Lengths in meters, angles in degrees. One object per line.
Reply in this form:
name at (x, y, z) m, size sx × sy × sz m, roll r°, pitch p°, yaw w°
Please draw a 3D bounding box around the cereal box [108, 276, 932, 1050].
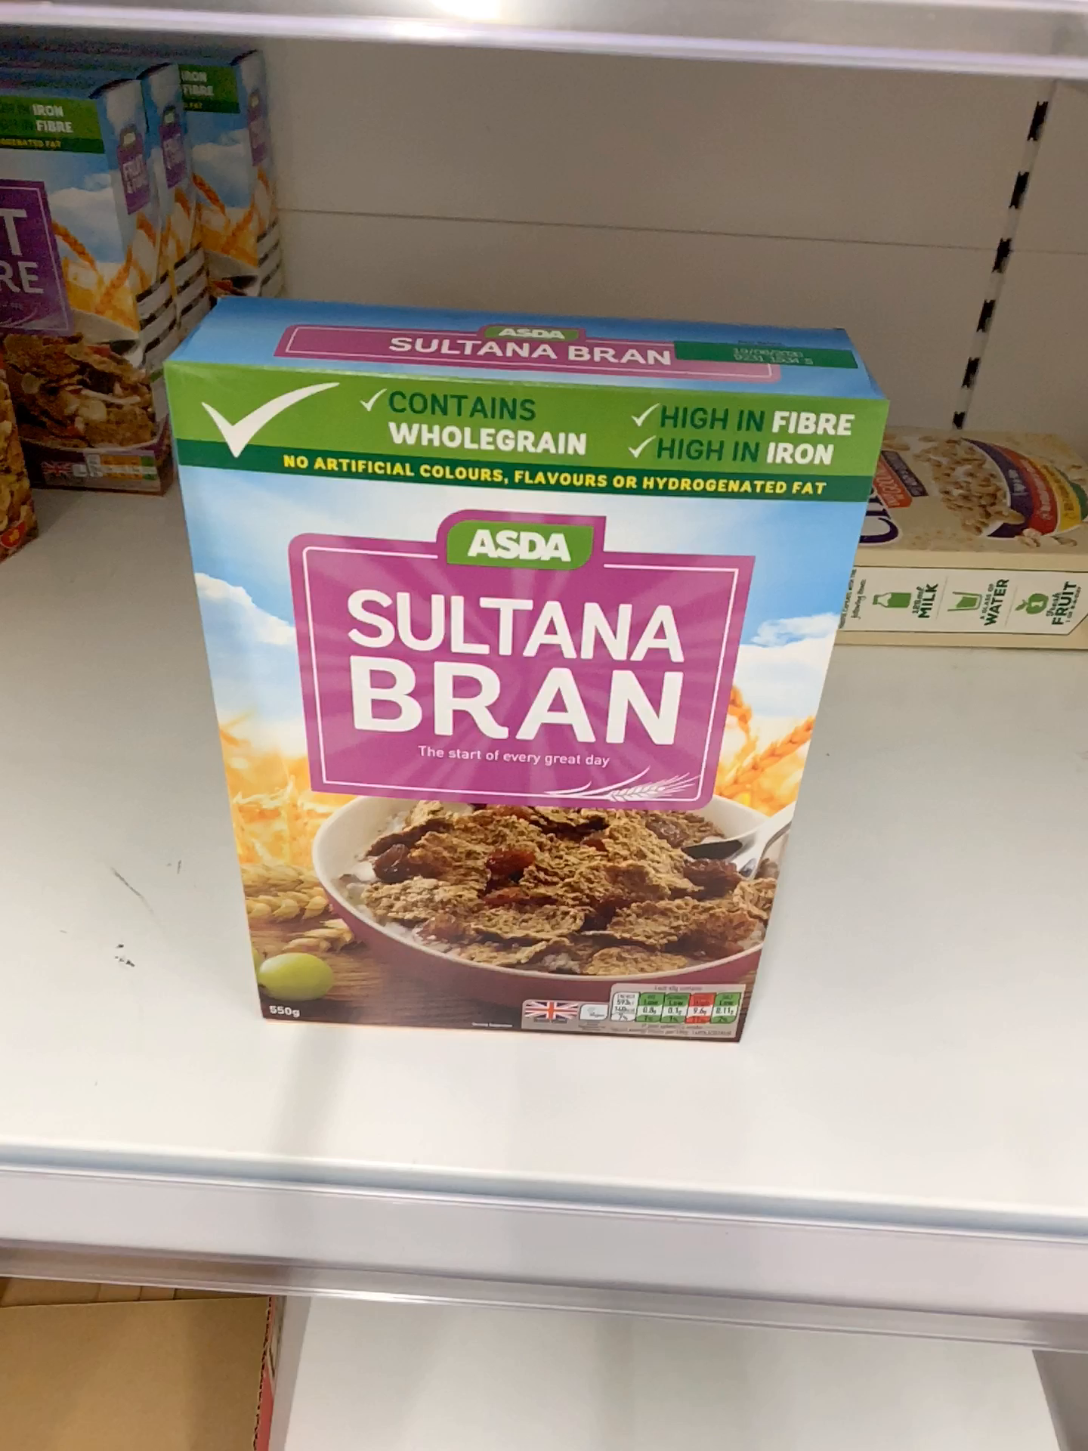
cereal box at (-0.010, -0.004, 0.392) m, size 0.210 × 0.267 × 0.071 m, roll 3°, pitch 37°, yaw 0°
